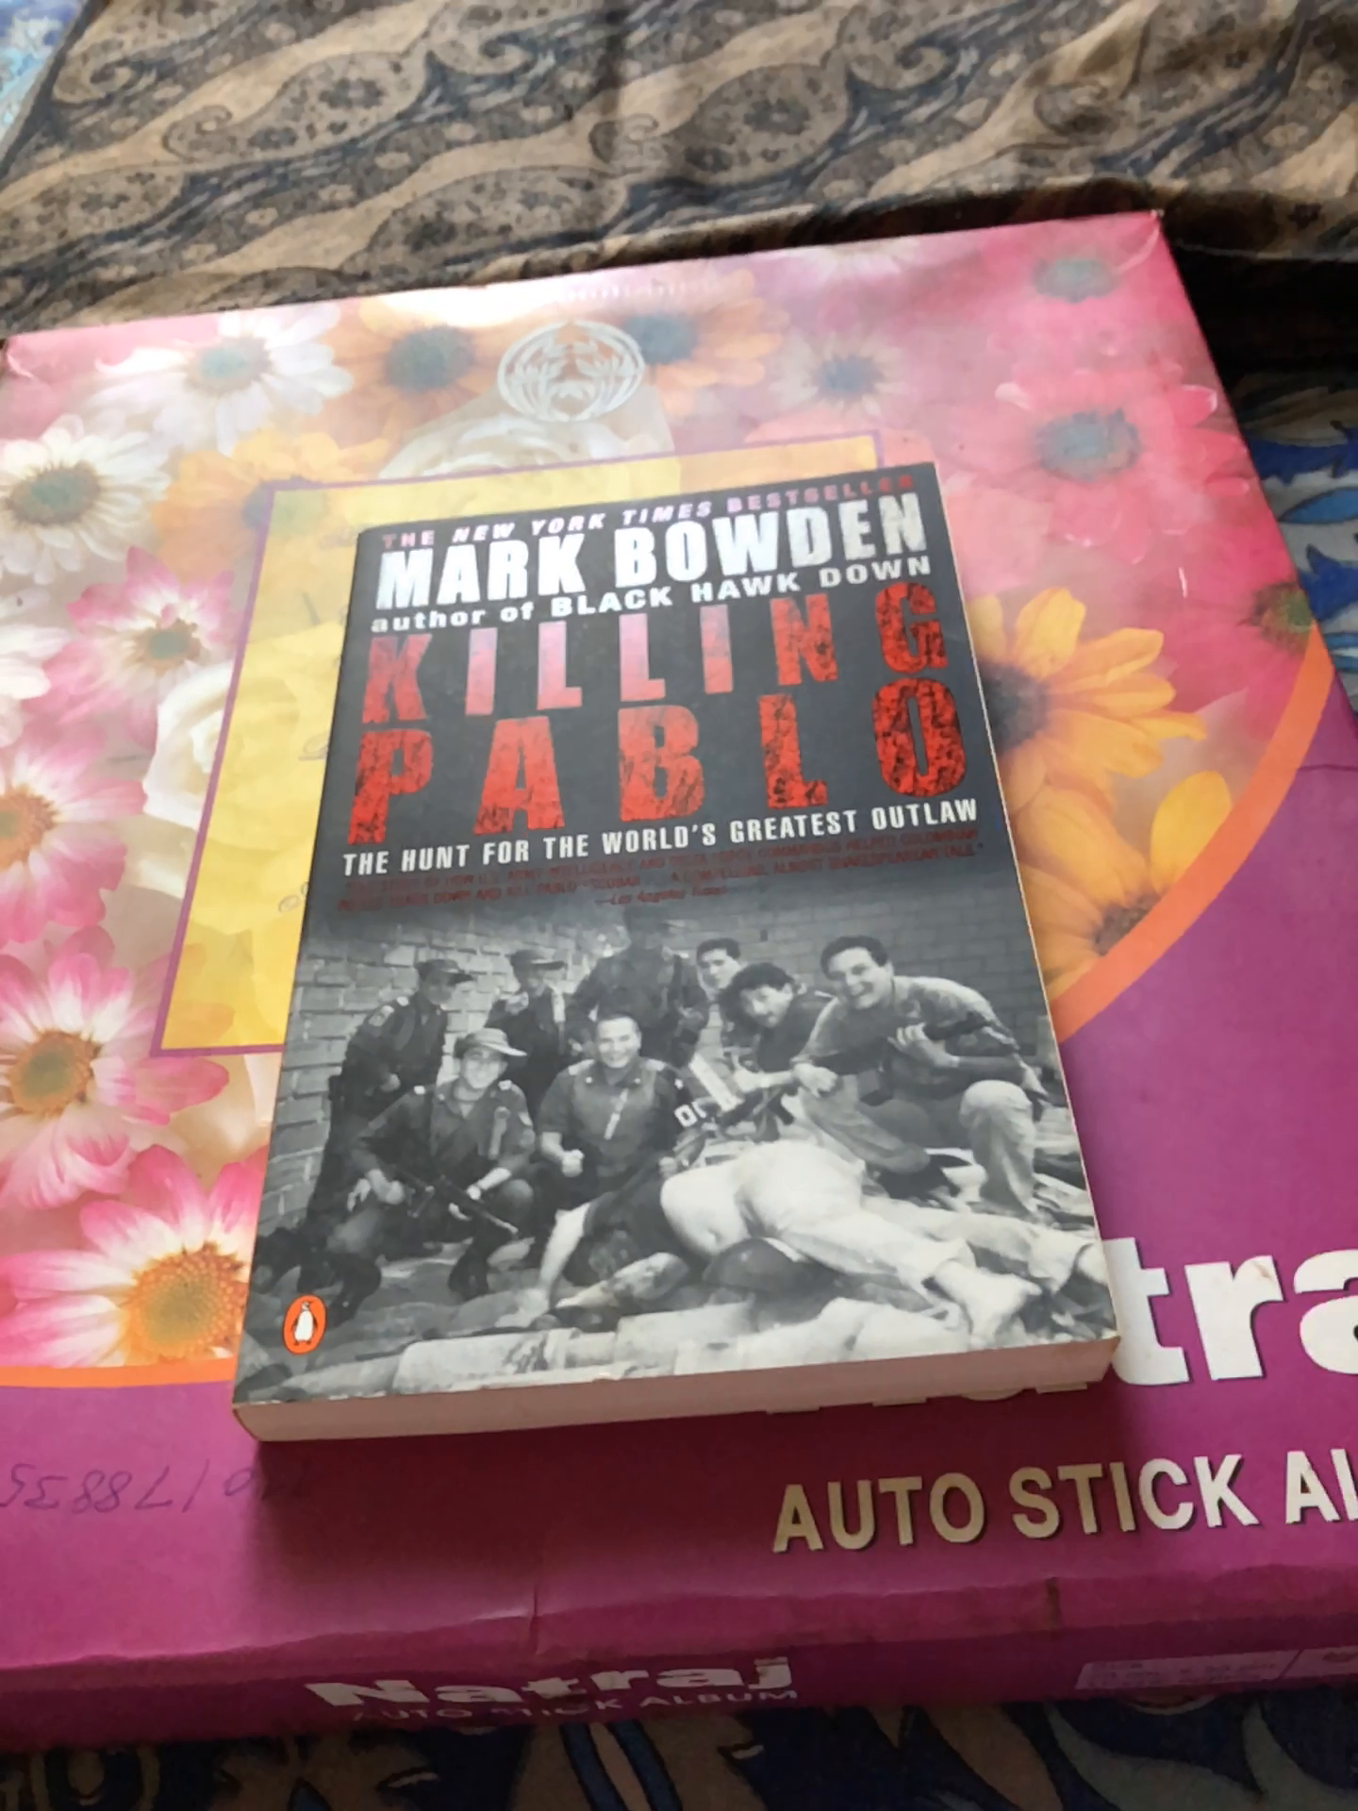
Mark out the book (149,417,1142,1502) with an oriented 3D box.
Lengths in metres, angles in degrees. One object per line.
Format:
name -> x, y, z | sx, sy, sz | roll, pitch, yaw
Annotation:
book -> -0.008, -0.007, 0.309 | 0.150, 0.030, 0.231 | -8, 51, 7
